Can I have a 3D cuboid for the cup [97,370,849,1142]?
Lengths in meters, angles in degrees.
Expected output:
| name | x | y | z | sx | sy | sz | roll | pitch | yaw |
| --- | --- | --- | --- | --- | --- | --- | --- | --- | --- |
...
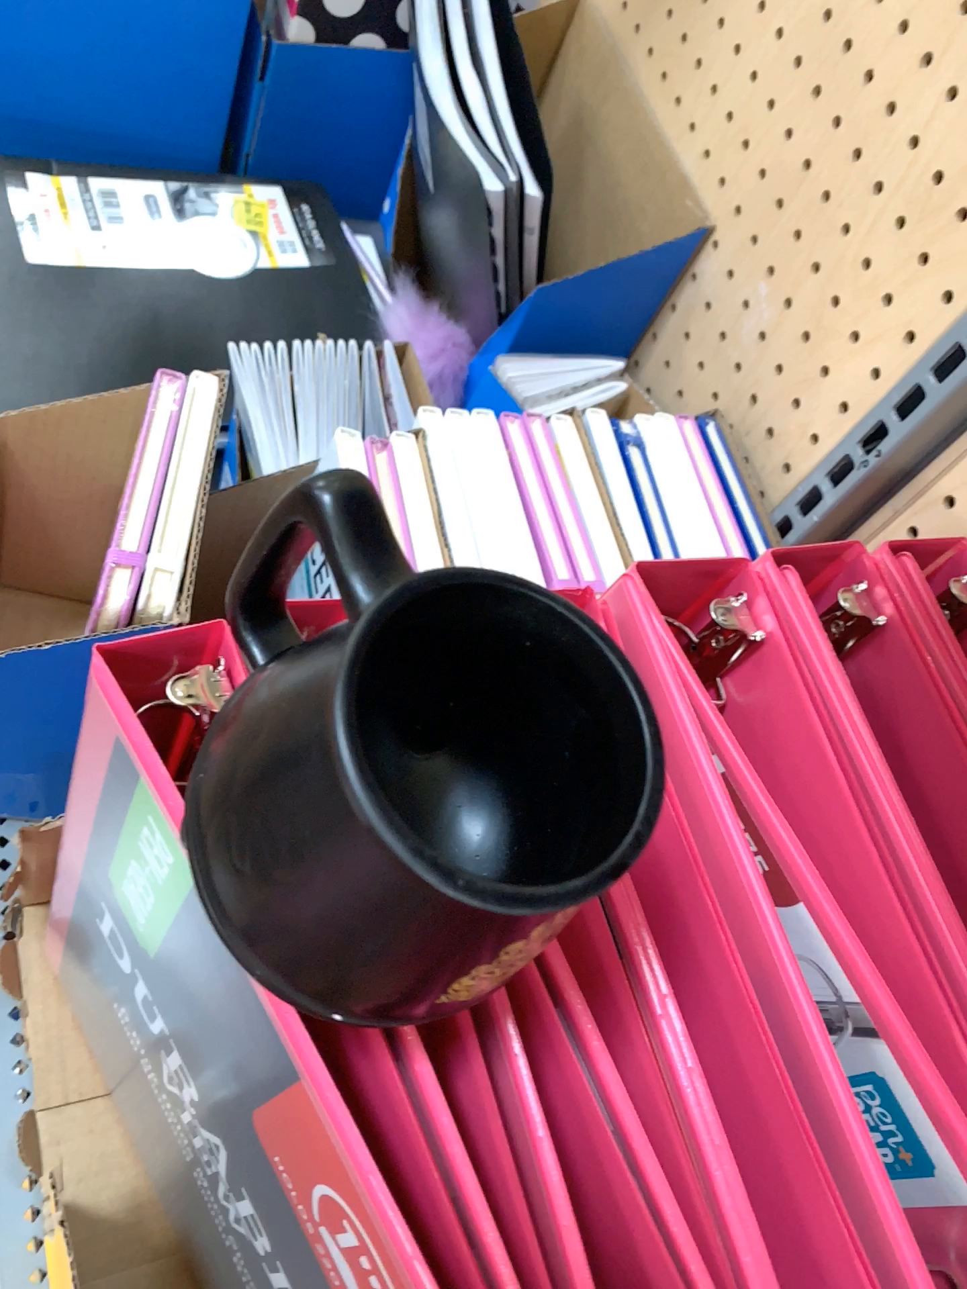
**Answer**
| name | x | y | z | sx | sy | sz | roll | pitch | yaw |
| --- | --- | --- | --- | --- | --- | --- | --- | --- | --- |
| cup | -0.012 | 0.024 | 0.227 | 0.097 | 0.093 | 0.122 | -22 | 73 | -33 |
